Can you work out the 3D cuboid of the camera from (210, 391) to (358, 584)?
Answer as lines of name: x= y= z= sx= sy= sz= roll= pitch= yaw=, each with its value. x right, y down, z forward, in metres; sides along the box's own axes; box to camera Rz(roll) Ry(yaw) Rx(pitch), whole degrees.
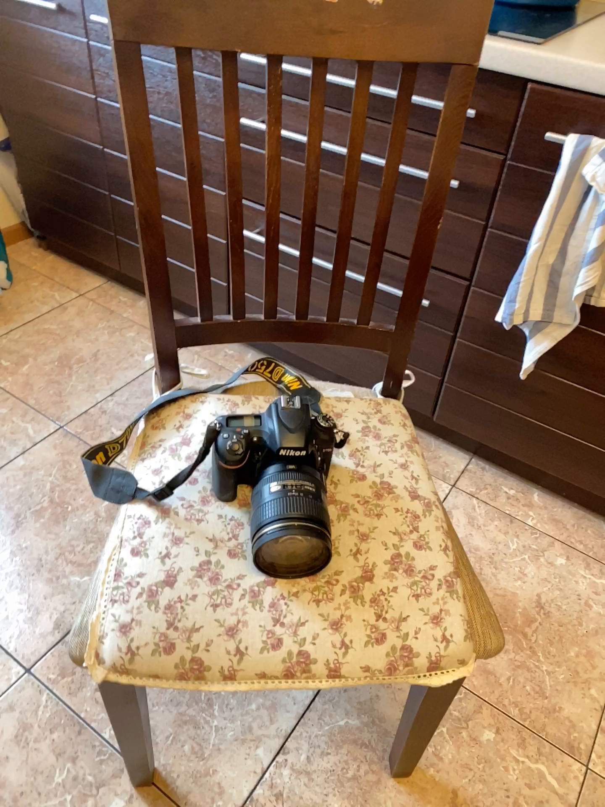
camera: x=-0.027 y=0.086 z=0.658 sx=0.135 sy=0.119 sz=0.165 roll=0 pitch=40 yaw=-7
